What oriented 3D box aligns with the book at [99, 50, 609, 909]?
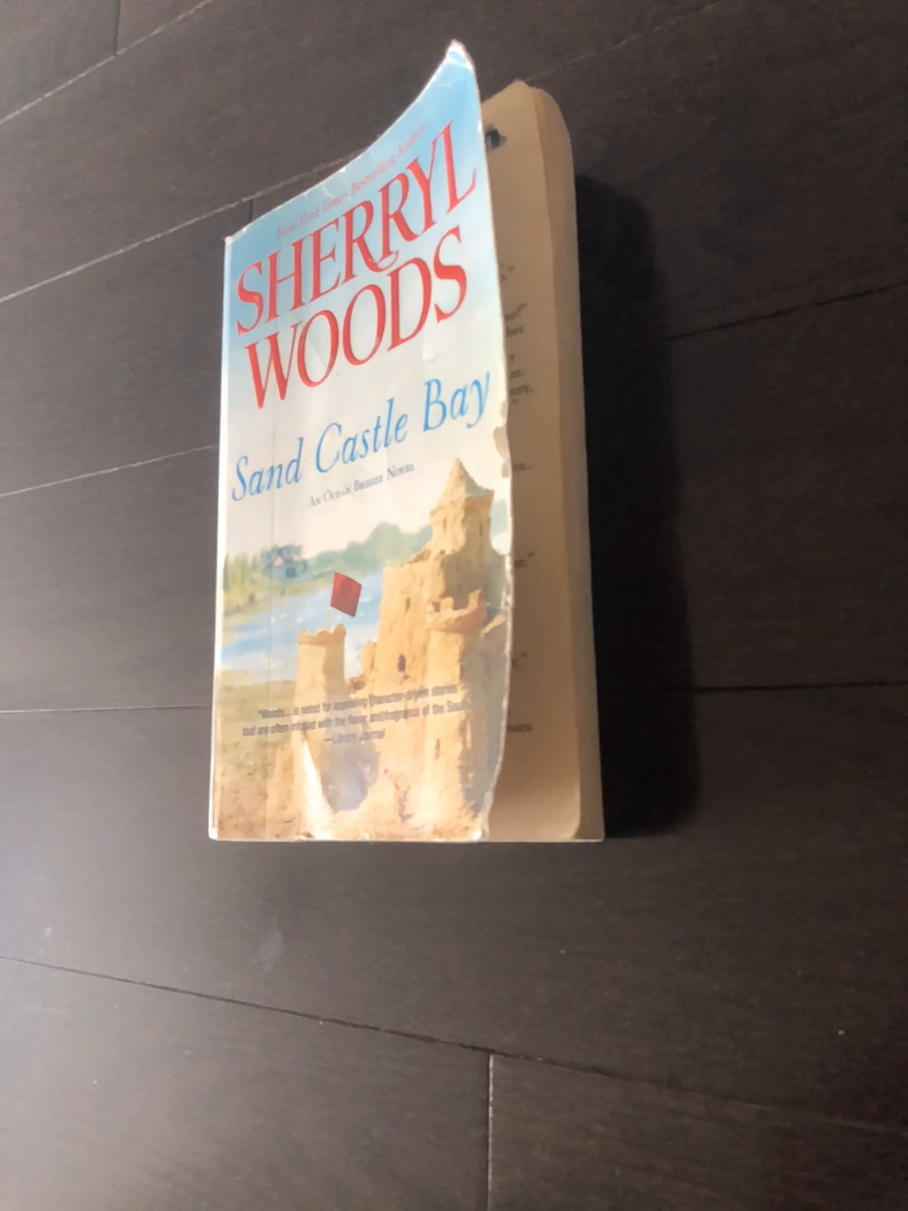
[{"bbox_3d":[-0.029,-0.020,0.235,0.120,0.037,0.161,-7,81,36],"label":"book"}]
